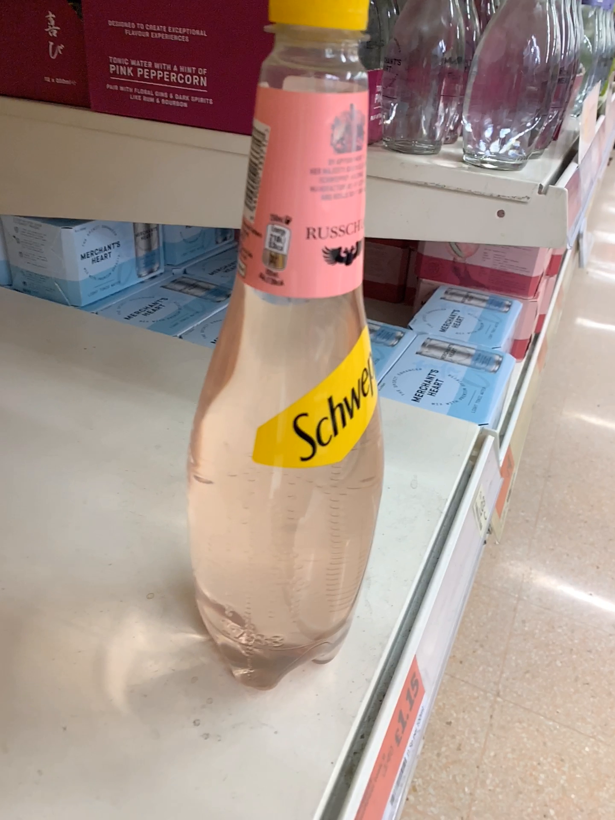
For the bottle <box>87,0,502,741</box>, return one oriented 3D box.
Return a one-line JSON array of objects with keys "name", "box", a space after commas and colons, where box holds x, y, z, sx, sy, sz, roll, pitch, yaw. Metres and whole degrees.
[{"name": "bottle", "box": [-0.012, -0.007, 0.263, 0.090, 0.299, 0.085, 4, 32, -2]}]
